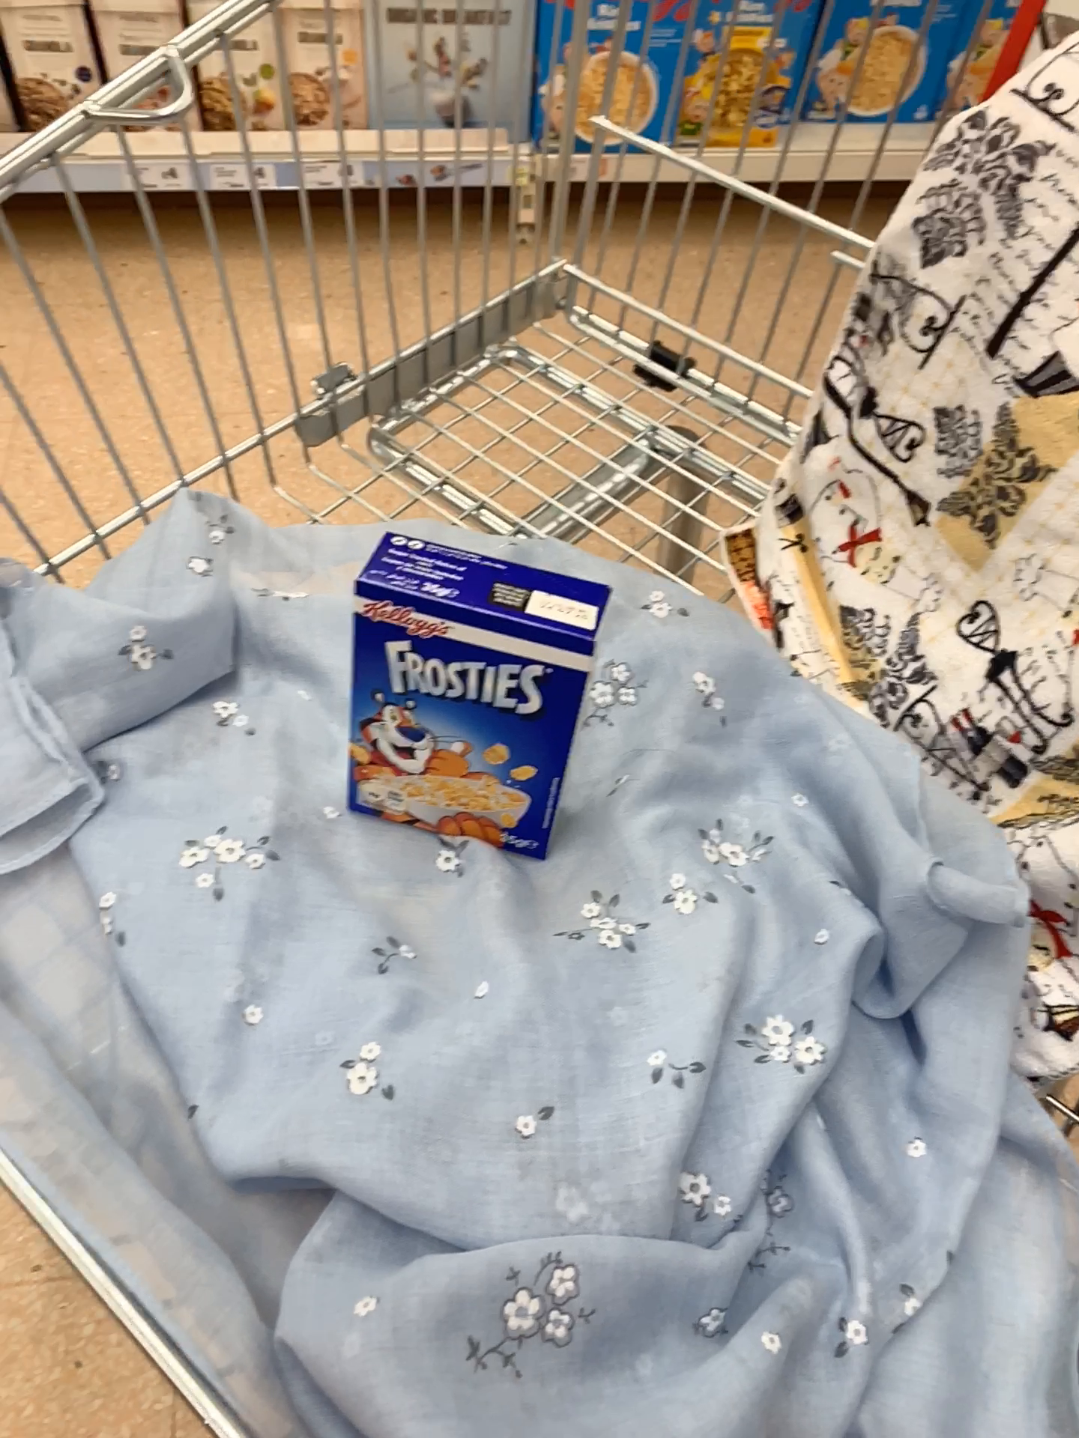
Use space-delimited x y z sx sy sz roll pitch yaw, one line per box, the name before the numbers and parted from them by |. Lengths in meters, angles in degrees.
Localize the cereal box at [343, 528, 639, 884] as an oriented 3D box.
cereal box | -0.023 -0.001 0.445 0.100 0.129 0.040 15 45 6
